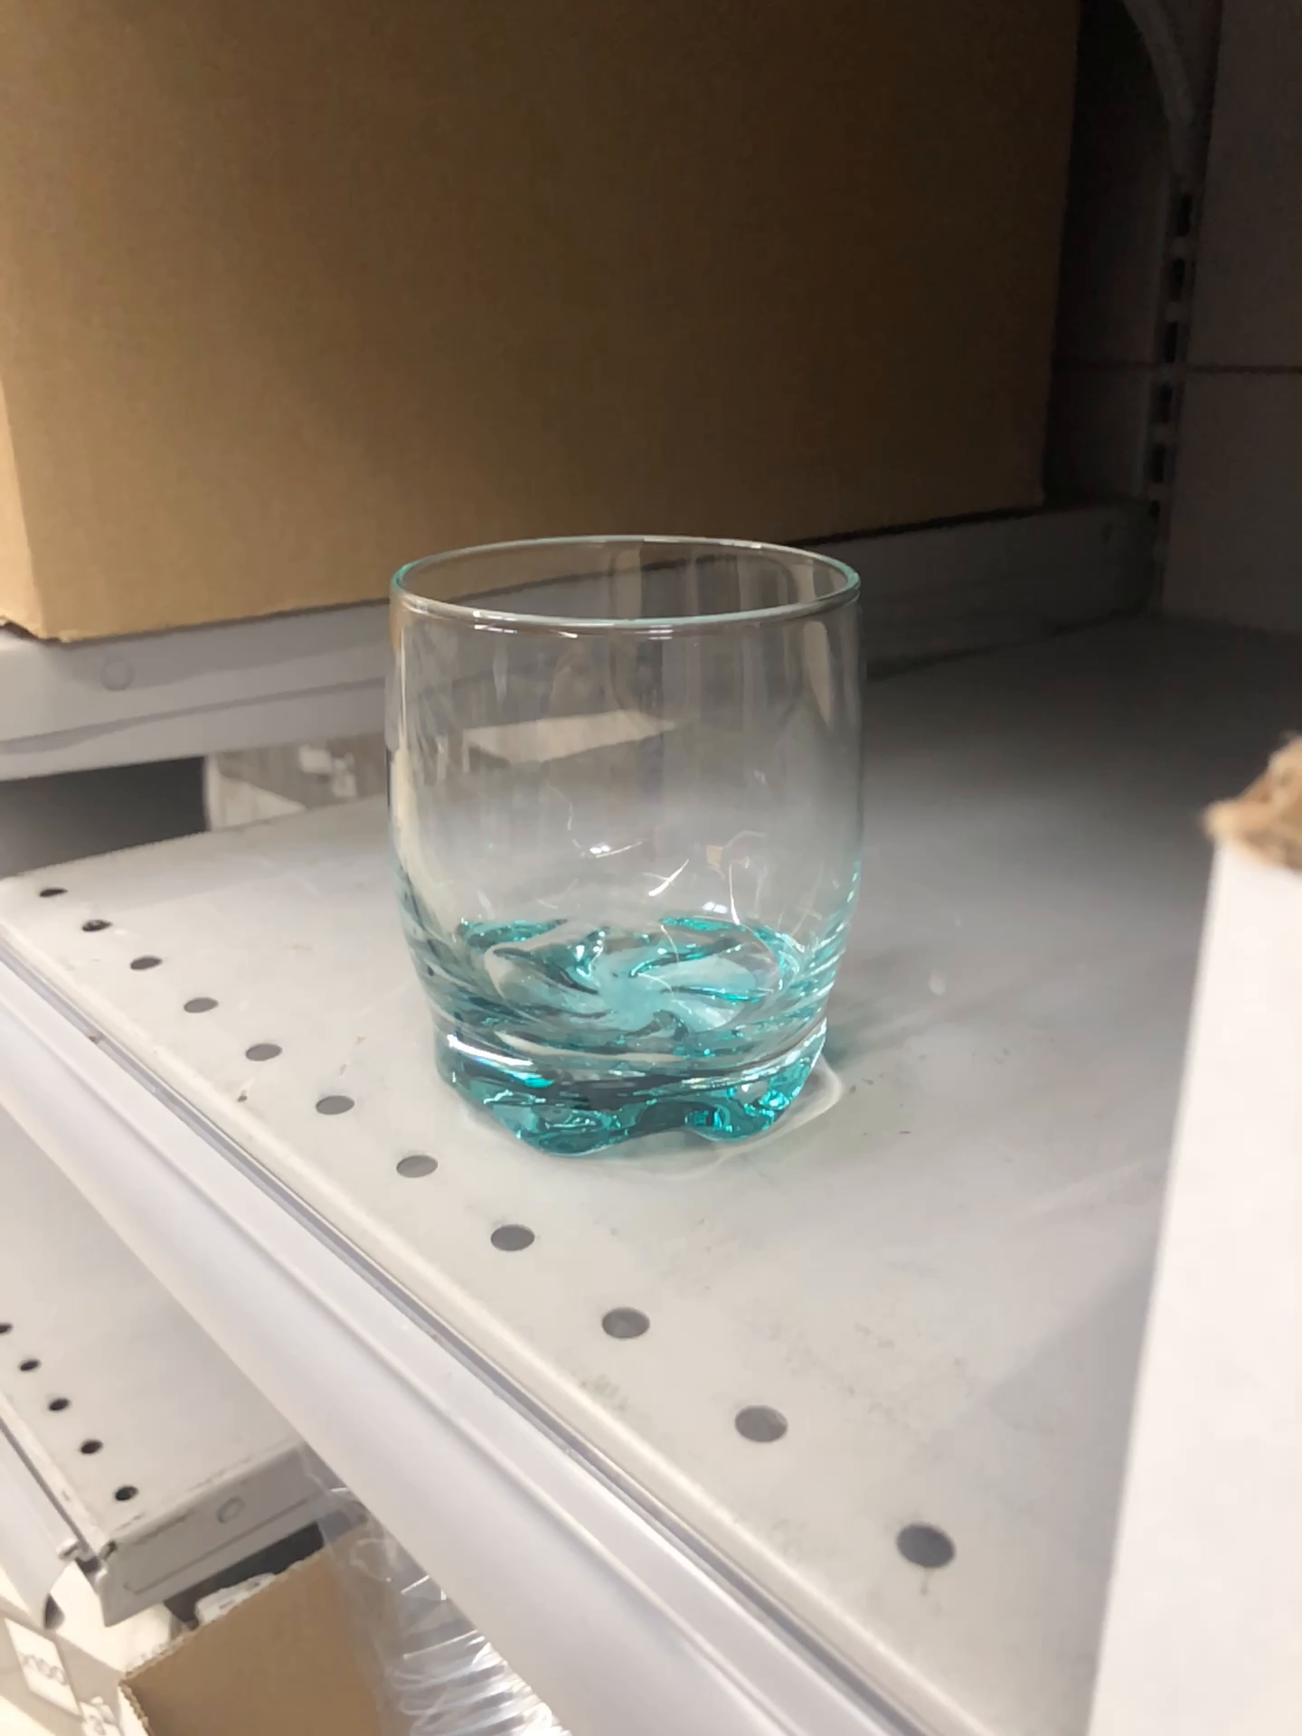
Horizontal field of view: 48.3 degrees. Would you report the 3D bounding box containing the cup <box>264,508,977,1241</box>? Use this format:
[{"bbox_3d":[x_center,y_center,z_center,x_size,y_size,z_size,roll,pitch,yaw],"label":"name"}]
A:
[{"bbox_3d":[-0.008,-0.008,0.233,0.074,0.082,0.082,-14,26,-32],"label":"cup"}]
